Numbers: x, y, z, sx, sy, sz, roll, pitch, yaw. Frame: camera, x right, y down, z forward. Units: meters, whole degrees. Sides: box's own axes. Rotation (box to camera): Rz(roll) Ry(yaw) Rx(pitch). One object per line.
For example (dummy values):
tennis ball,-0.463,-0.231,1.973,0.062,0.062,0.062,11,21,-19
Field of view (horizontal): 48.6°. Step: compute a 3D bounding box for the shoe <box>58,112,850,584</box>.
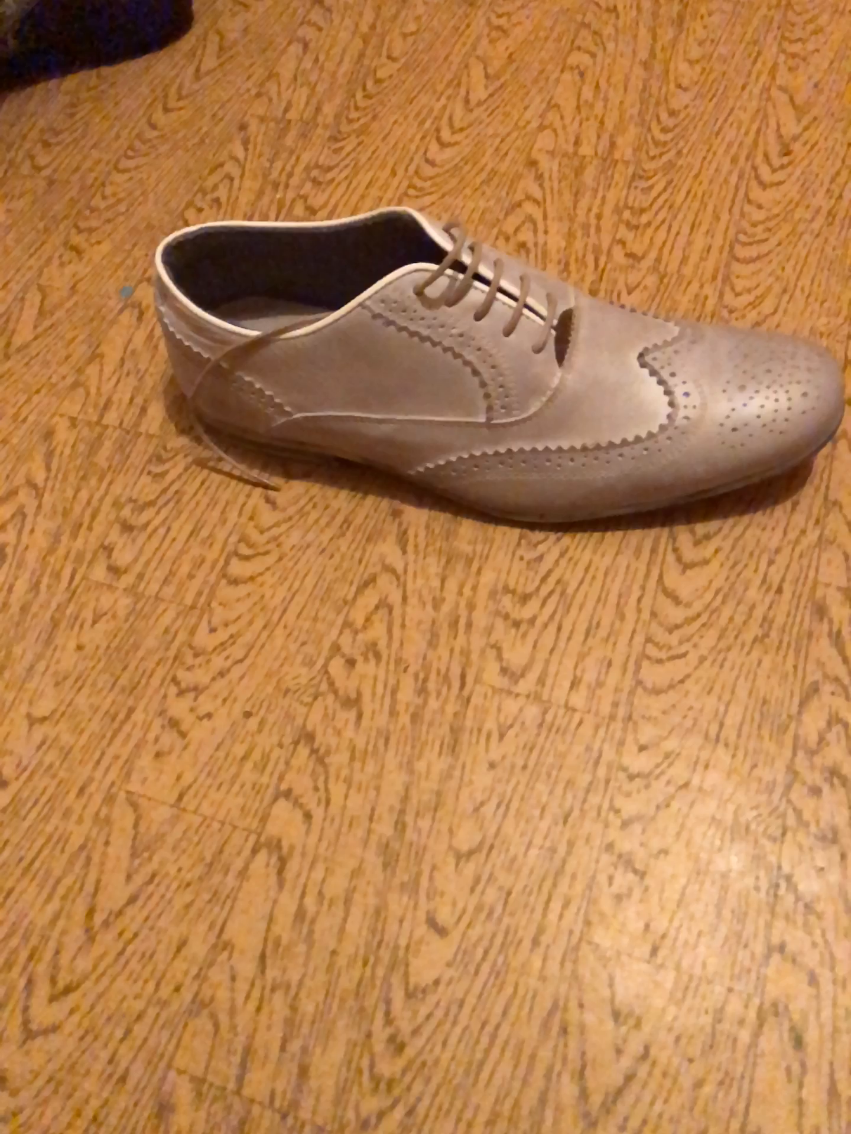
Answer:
shoe,0.026,-0.094,0.396,0.300,0.110,0.110,11,62,11
